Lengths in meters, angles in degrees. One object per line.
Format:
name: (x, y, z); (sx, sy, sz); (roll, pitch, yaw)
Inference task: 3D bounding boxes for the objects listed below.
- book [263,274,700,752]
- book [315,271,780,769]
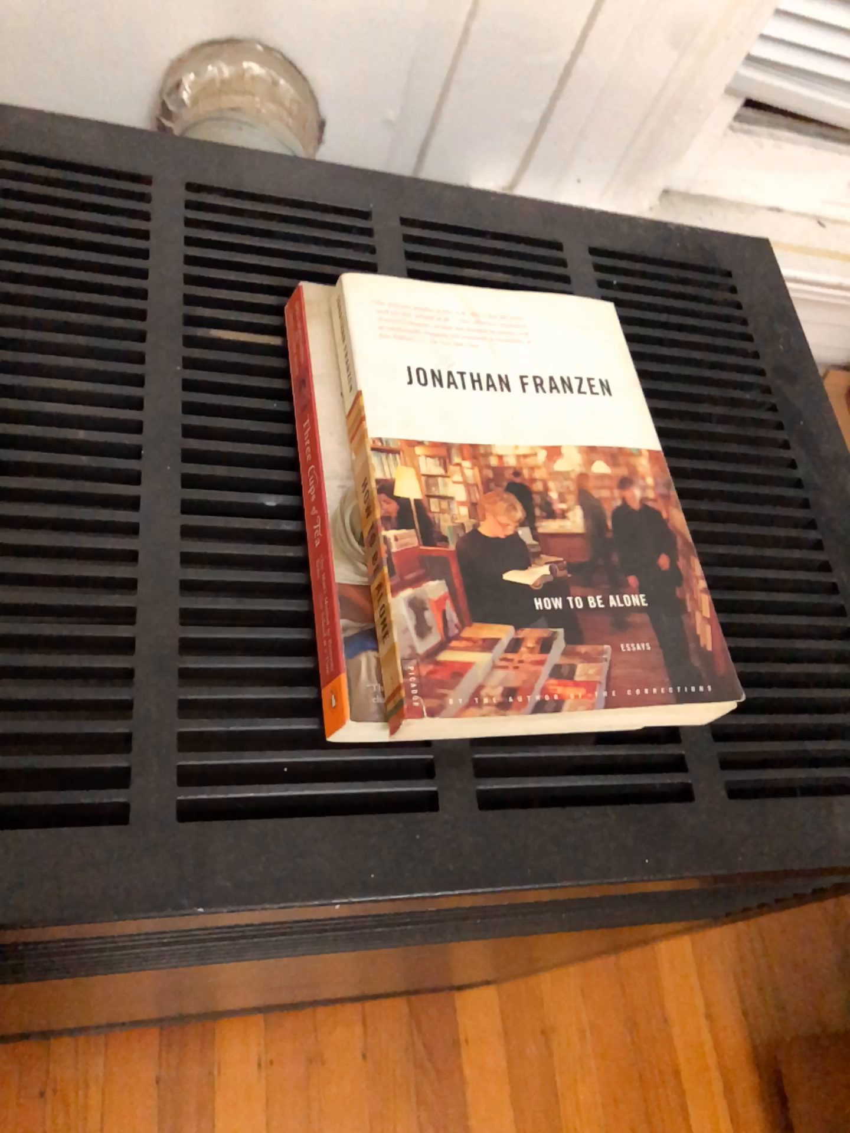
book: (0.016, -0.032, 0.408); (0.150, 0.030, 0.211); (-1, 61, -20)
book: (0.043, -0.029, 0.394); (0.150, 0.030, 0.211); (-1, 61, -20)
